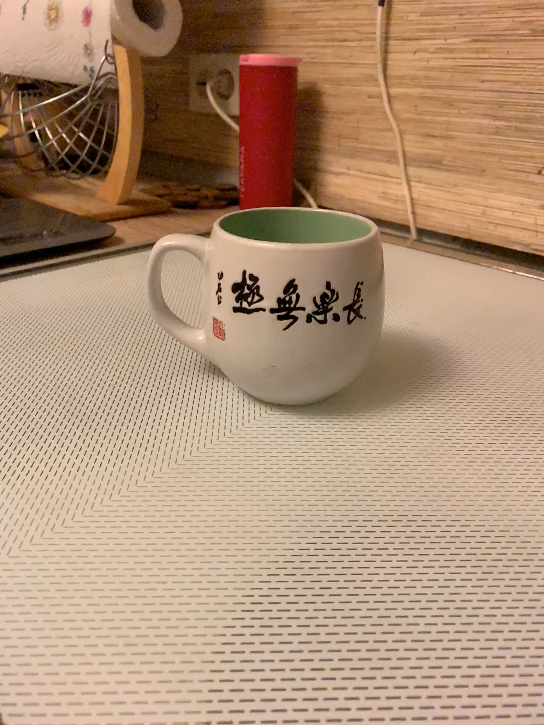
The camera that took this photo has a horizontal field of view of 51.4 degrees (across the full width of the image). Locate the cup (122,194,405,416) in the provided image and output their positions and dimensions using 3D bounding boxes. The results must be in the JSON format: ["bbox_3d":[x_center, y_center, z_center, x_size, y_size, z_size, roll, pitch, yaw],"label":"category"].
[{"bbox_3d":[-0.008,-0.034,0.305,0.124,0.091,0.088,1,26,-5],"label":"cup"}]
